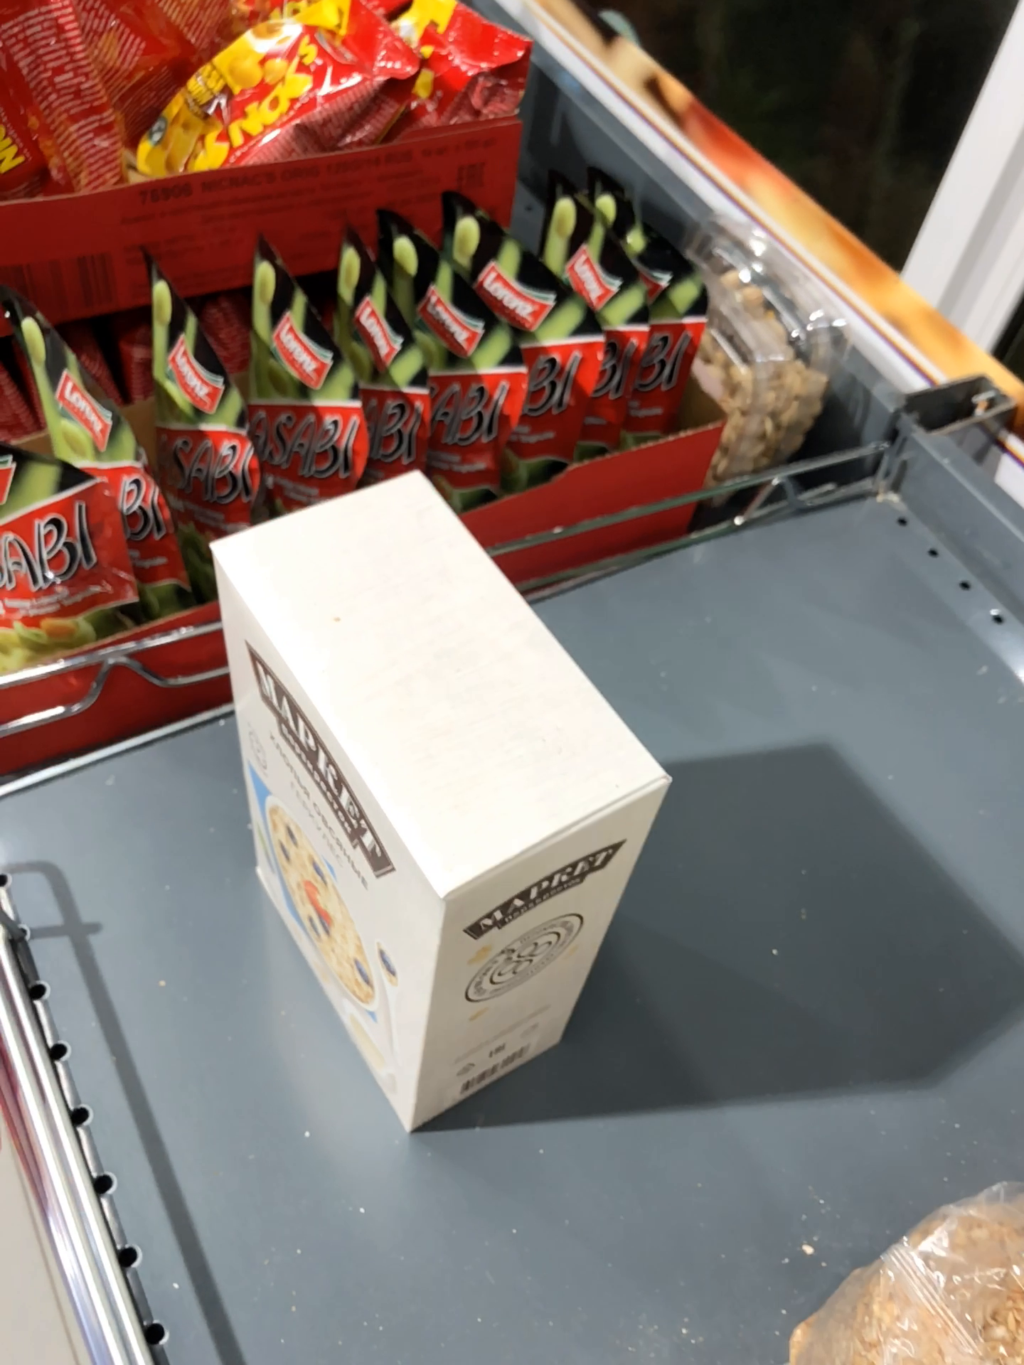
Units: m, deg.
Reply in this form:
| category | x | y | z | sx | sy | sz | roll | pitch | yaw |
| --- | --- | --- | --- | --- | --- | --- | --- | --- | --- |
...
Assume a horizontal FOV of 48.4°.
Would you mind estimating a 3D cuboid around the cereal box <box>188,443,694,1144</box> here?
| category | x | y | z | sx | sy | sz | roll | pitch | yaw |
| --- | --- | --- | --- | --- | --- | --- | --- | --- | --- |
| cereal box | -0.032 | 0.046 | 0.365 | 0.070 | 0.189 | 0.130 | -26 | 61 | -24 |
